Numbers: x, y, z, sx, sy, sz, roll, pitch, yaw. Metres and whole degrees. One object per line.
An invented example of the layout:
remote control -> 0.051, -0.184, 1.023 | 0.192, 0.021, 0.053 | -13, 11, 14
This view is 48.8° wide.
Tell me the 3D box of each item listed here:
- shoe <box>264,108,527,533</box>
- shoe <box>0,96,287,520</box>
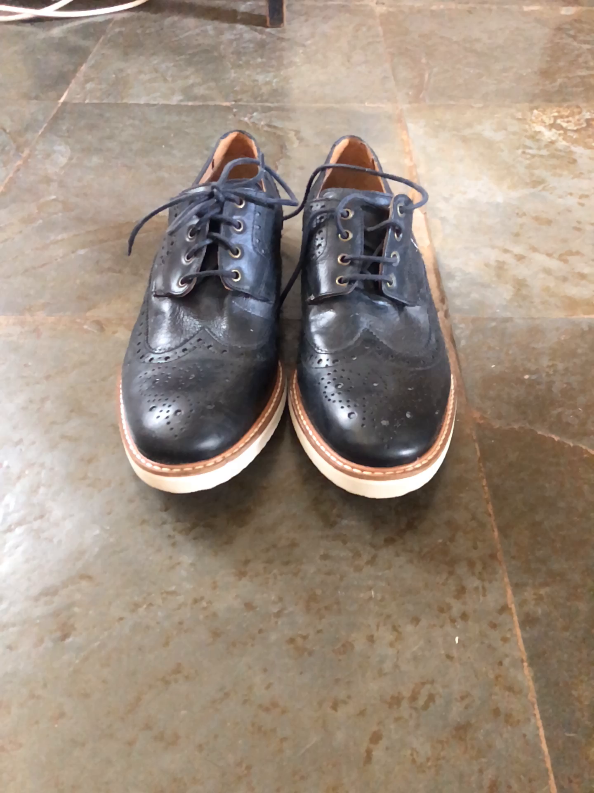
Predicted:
shoe -> 0.037, -0.072, 0.420 | 0.110, 0.099, 0.302 | -2, 46, -2
shoe -> -0.066, -0.076, 0.404 | 0.110, 0.099, 0.292 | 1, 46, 1
